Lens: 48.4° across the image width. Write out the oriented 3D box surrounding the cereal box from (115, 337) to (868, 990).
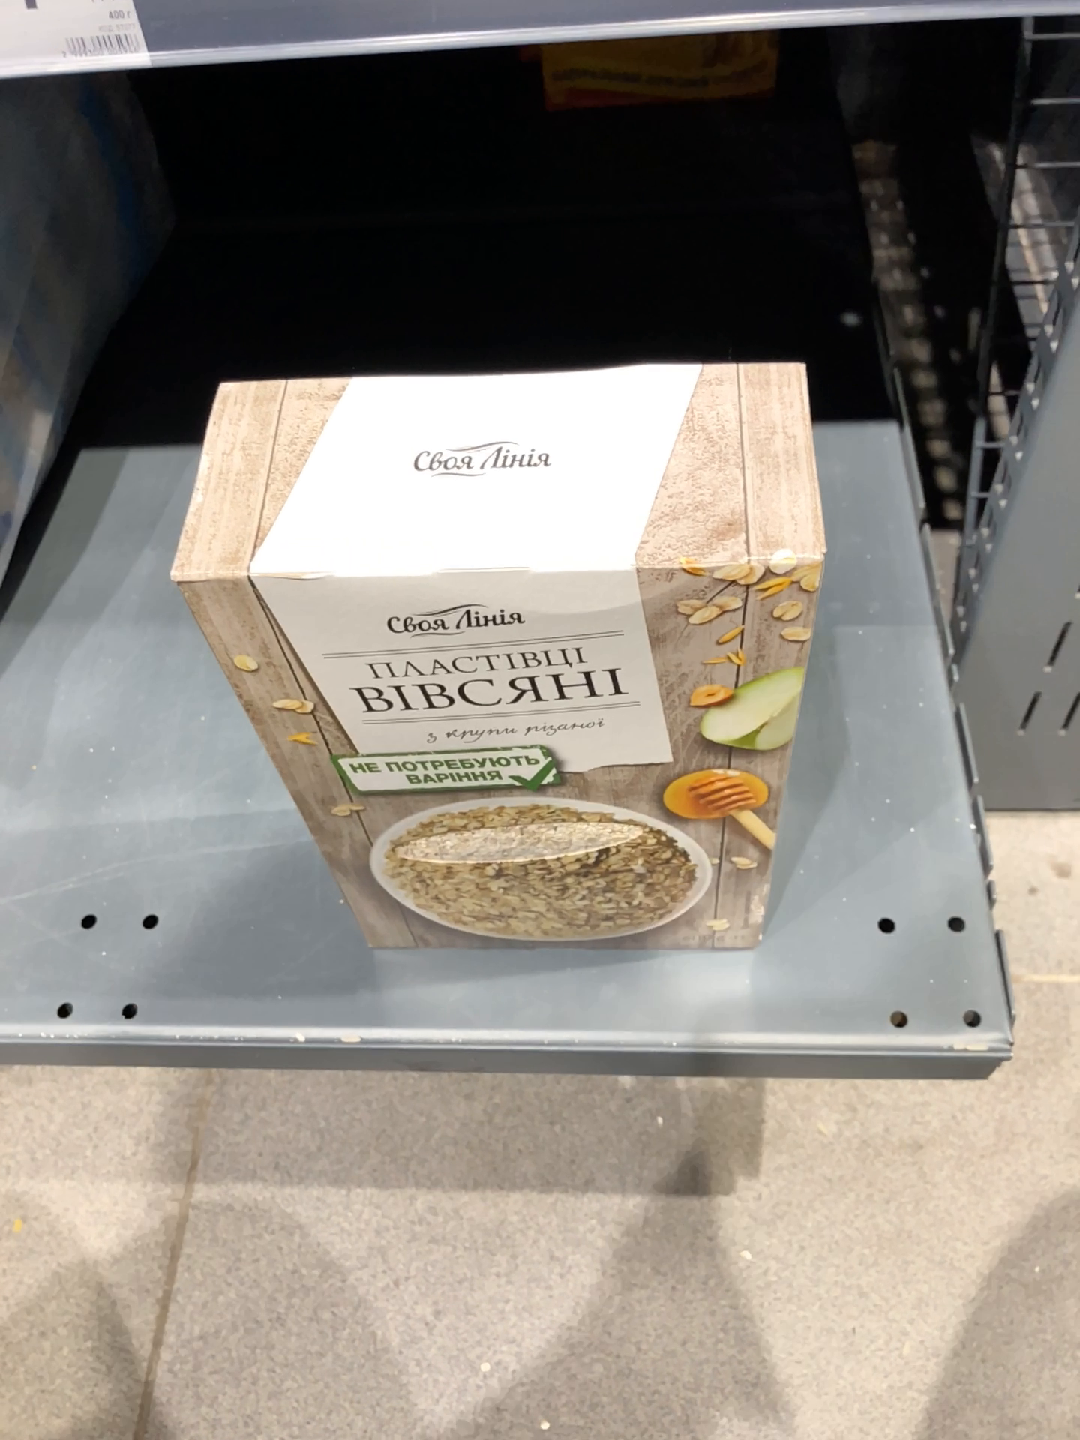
[{"bbox_3d":[-0.001,0.005,0.353,0.150,0.229,0.070,0,58,5],"label":"cereal box"}]
